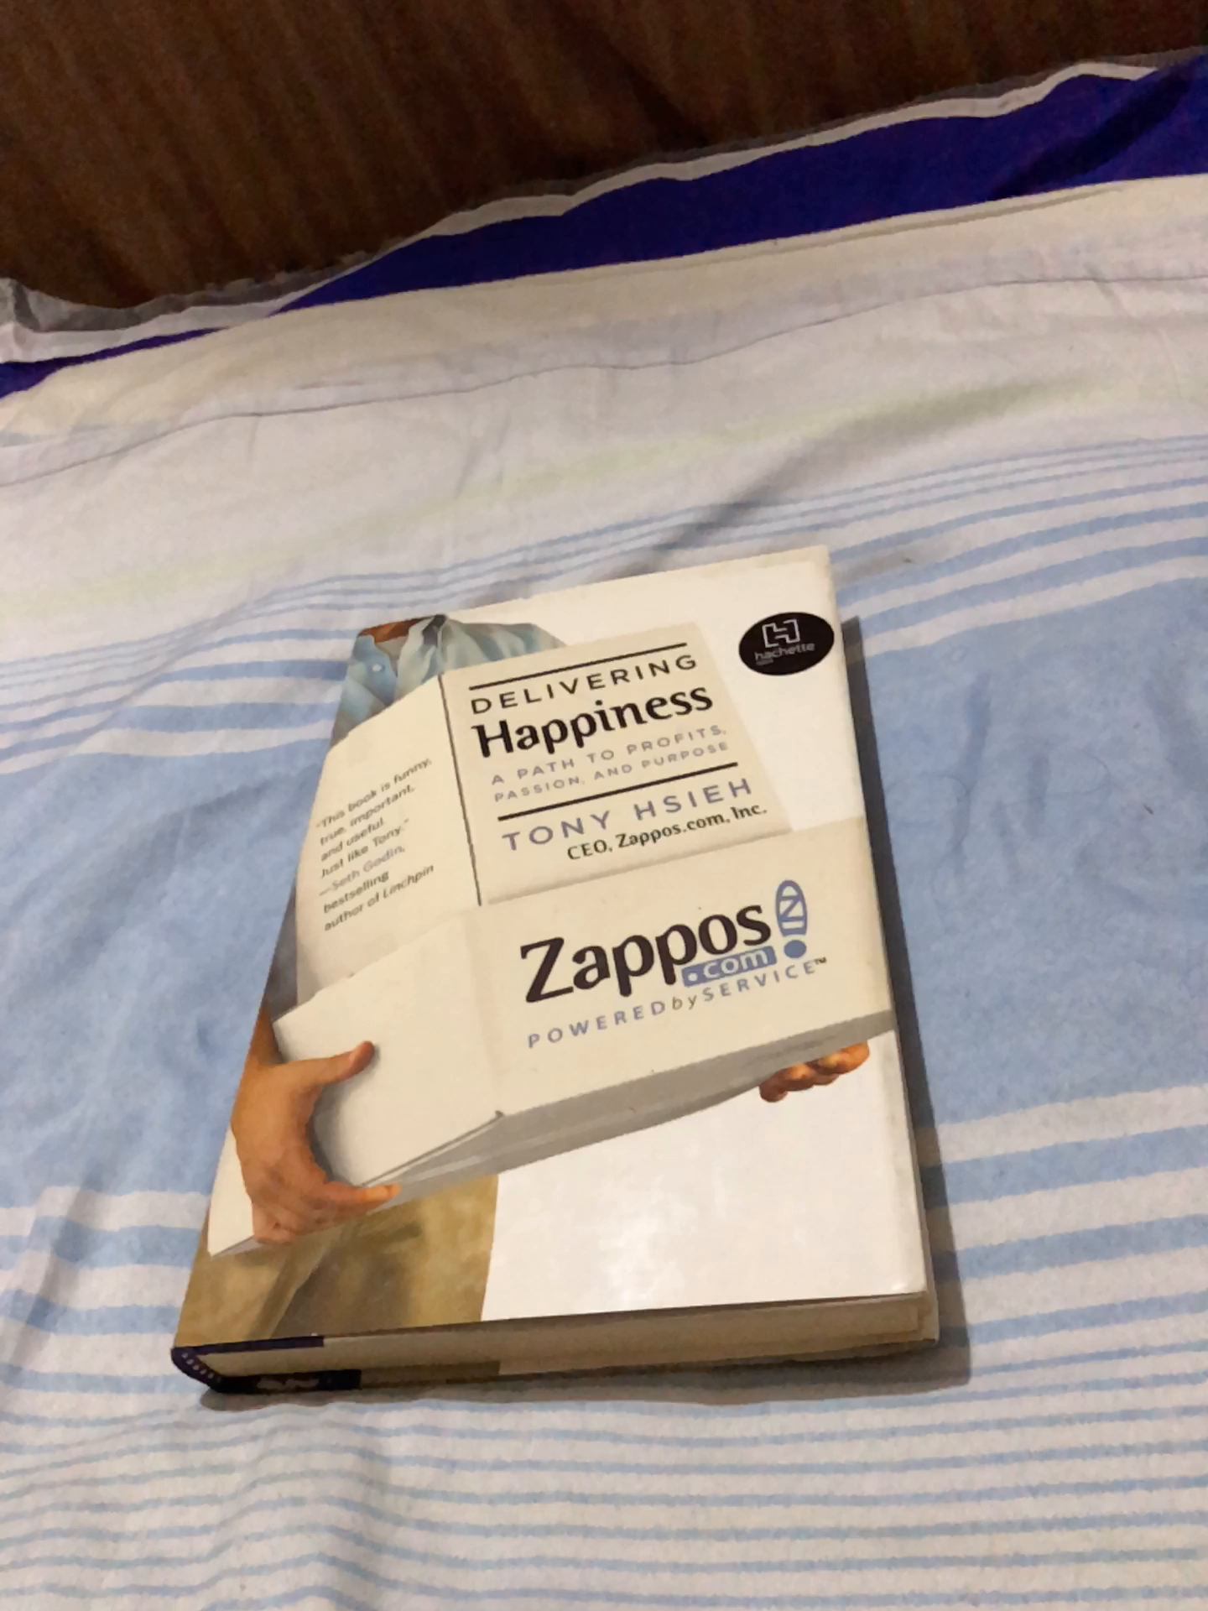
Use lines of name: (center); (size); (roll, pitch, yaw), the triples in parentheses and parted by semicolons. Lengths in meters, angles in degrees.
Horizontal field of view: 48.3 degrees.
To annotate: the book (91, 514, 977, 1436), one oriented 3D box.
book: (-0.009, 0.027, 0.354); (0.170, 0.050, 0.241); (-8, 44, 12)
